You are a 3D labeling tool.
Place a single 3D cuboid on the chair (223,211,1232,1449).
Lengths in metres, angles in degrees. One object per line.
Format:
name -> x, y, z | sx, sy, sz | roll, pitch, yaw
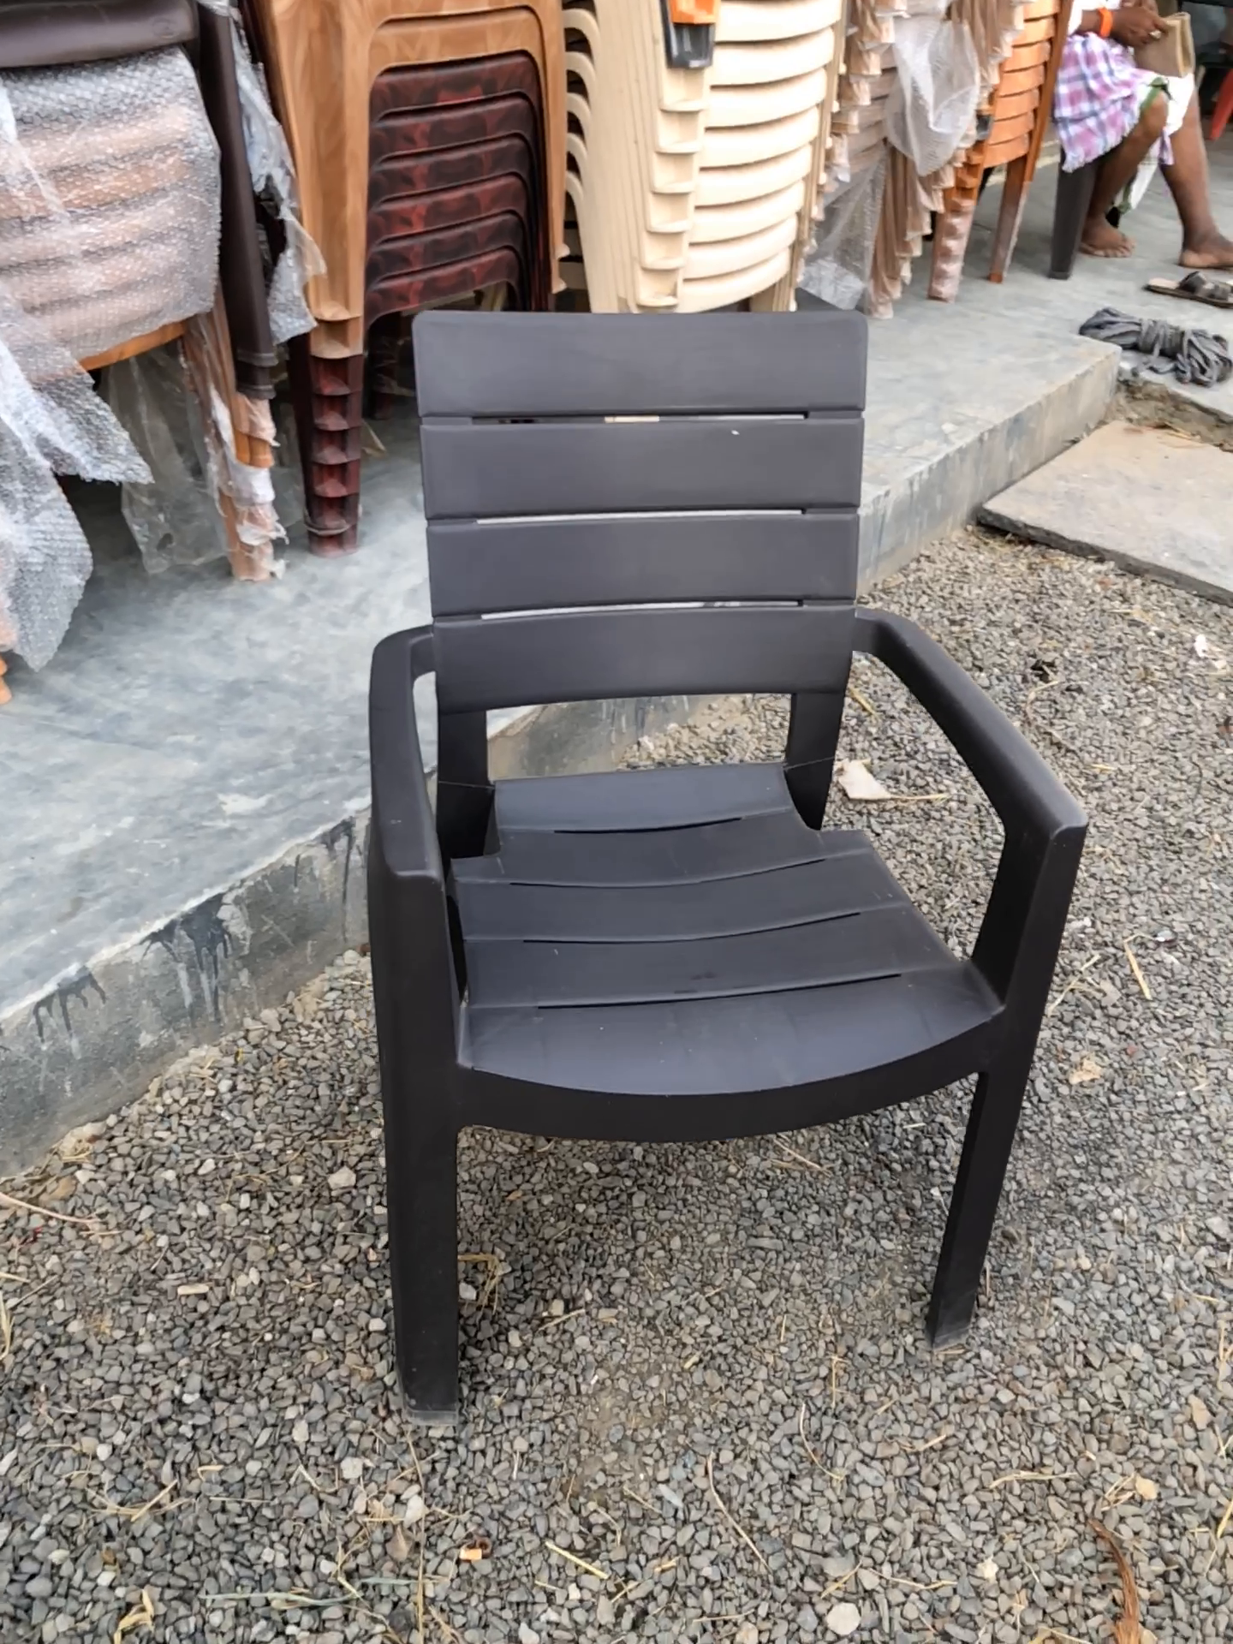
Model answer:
chair -> 0.012, -0.029, 1.193 | 0.571, 0.796, 0.683 | -5, 38, -10
